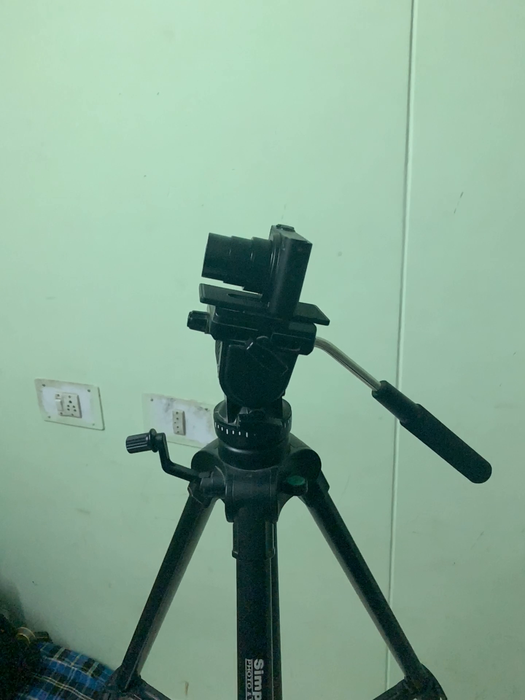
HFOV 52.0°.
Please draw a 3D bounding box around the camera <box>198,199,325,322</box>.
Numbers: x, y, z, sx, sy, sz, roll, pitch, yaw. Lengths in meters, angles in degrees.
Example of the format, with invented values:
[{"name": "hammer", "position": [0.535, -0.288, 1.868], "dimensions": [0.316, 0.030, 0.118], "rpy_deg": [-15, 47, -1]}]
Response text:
[{"name": "camera", "position": [-0.007, -0.070, 0.396], "dimensions": [0.067, 0.060, 0.103], "rpy_deg": [12, 16, -12]}]
